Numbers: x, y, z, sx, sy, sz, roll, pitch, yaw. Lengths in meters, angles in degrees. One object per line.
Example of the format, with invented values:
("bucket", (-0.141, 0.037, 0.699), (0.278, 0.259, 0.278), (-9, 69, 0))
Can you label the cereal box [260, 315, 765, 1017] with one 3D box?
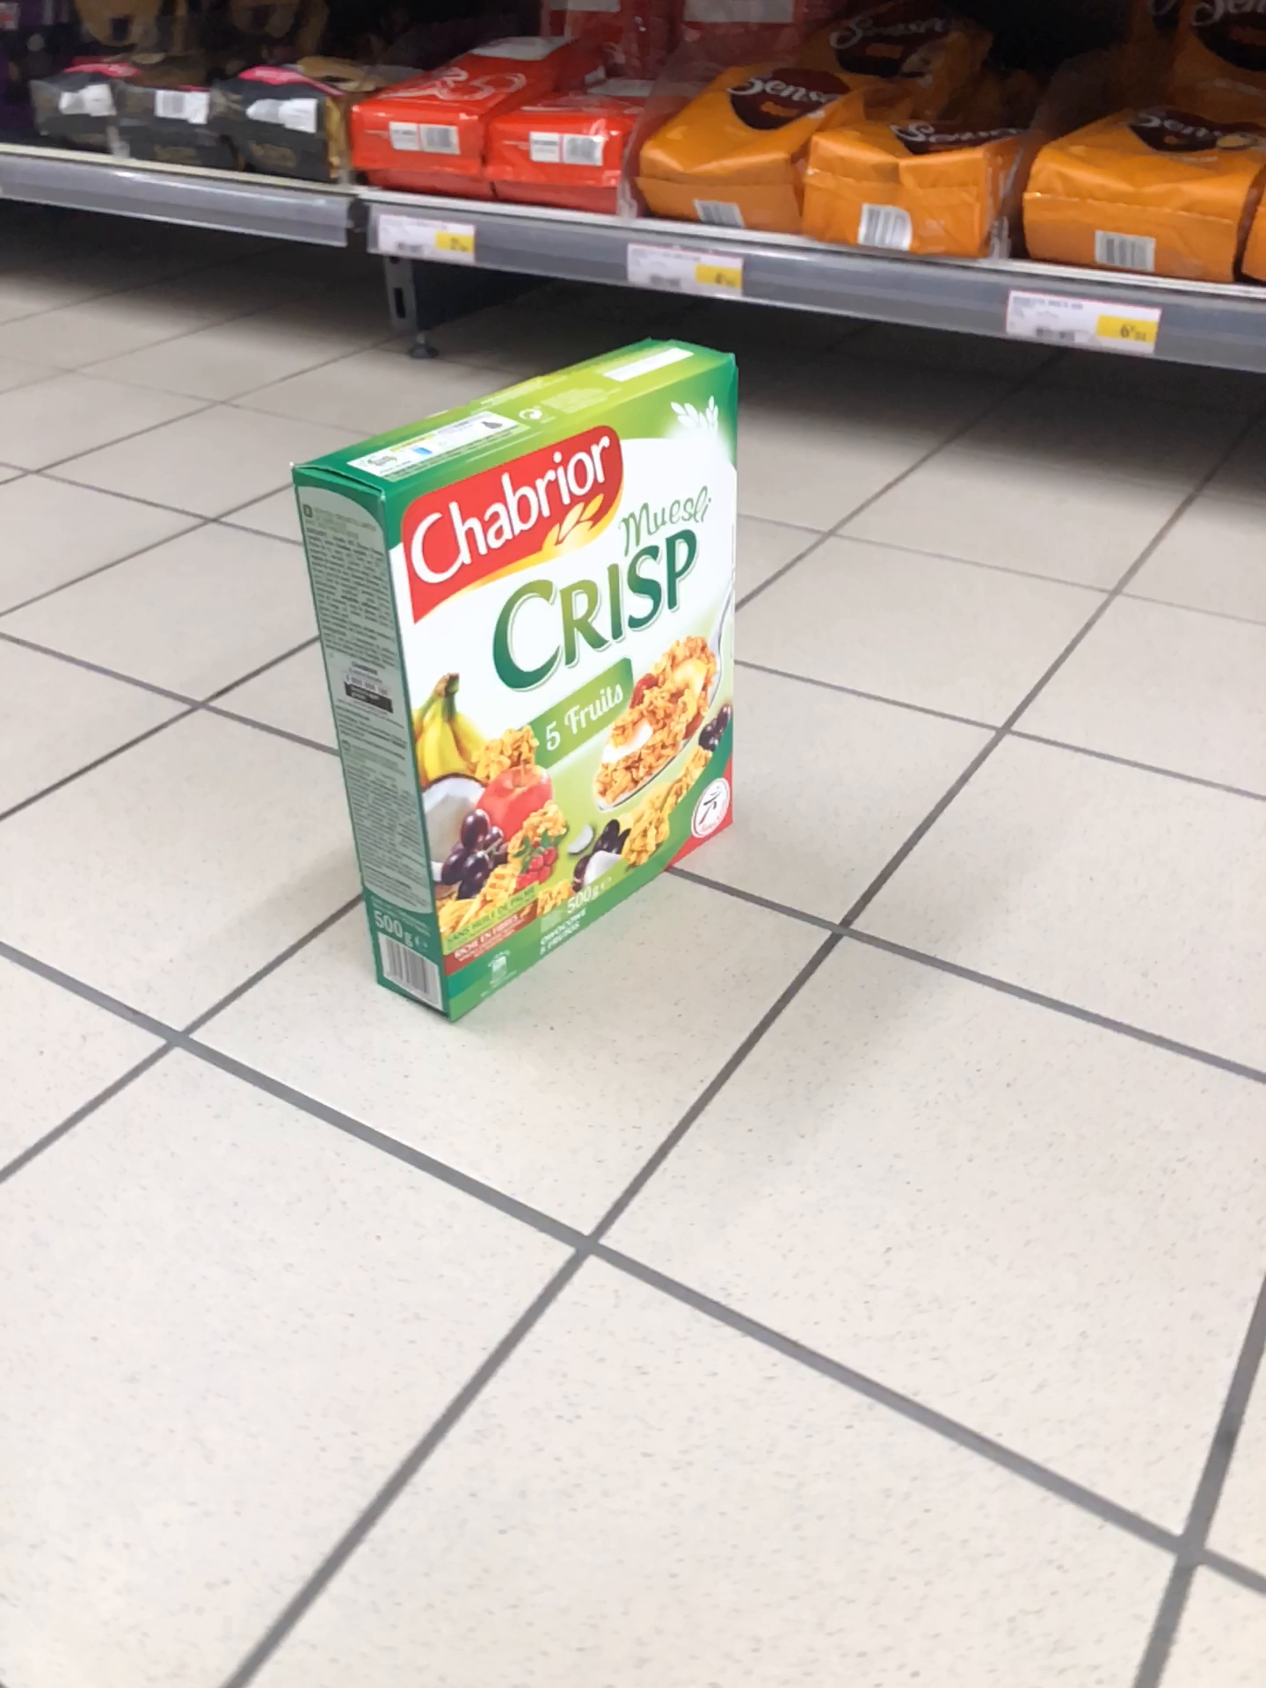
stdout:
("cereal box", (-0.033, -0.077, 0.567), (0.060, 0.219, 0.201), (25, 42, 33))
